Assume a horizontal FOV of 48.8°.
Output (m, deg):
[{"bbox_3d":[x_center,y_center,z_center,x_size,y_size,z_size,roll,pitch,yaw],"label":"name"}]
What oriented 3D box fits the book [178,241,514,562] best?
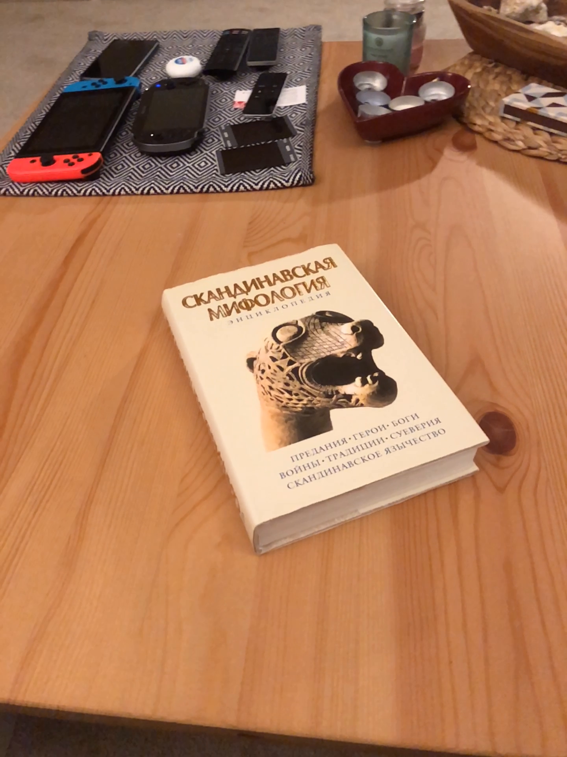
[{"bbox_3d":[0.027,-0.002,0.422,0.146,0.037,0.210,-18,49,-11],"label":"book"}]
